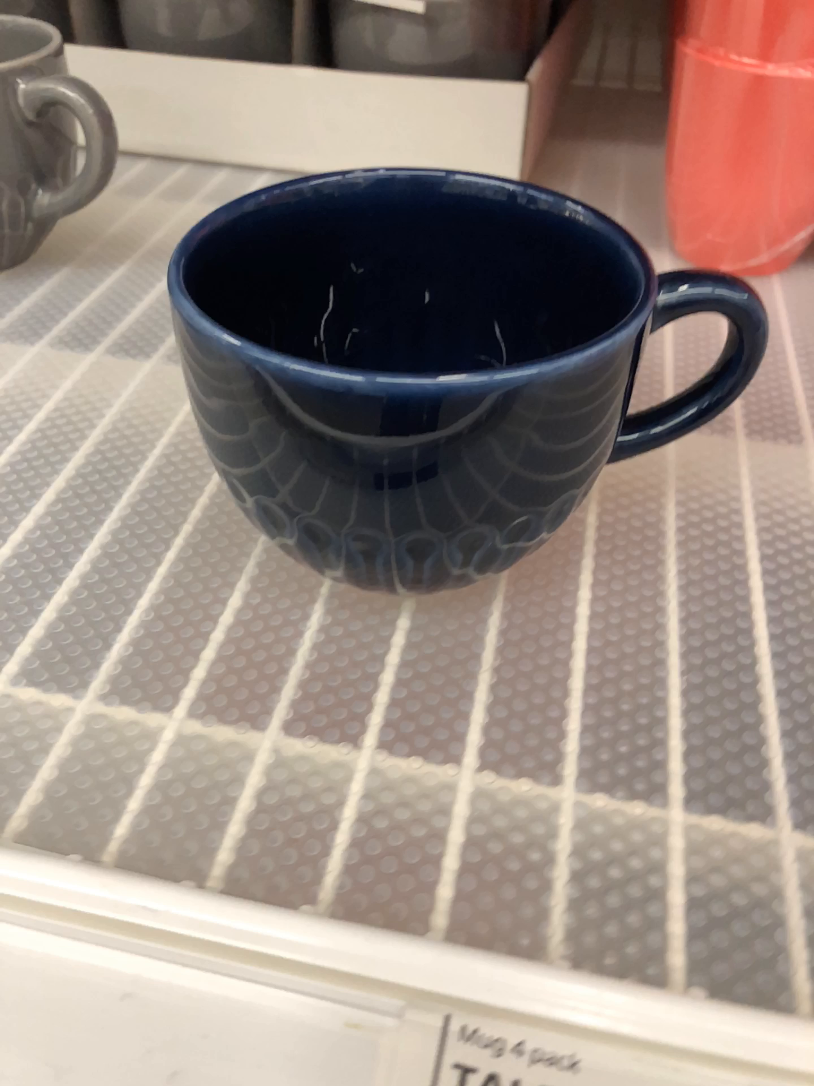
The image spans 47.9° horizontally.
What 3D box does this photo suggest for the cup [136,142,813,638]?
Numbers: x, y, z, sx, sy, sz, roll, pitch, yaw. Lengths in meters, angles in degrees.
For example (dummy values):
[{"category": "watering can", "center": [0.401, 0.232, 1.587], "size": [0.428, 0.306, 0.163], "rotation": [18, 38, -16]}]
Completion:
[{"category": "cup", "center": [0.013, -0.044, 0.215], "size": [0.130, 0.060, 0.110], "rotation": [-4, 41, -7]}]
